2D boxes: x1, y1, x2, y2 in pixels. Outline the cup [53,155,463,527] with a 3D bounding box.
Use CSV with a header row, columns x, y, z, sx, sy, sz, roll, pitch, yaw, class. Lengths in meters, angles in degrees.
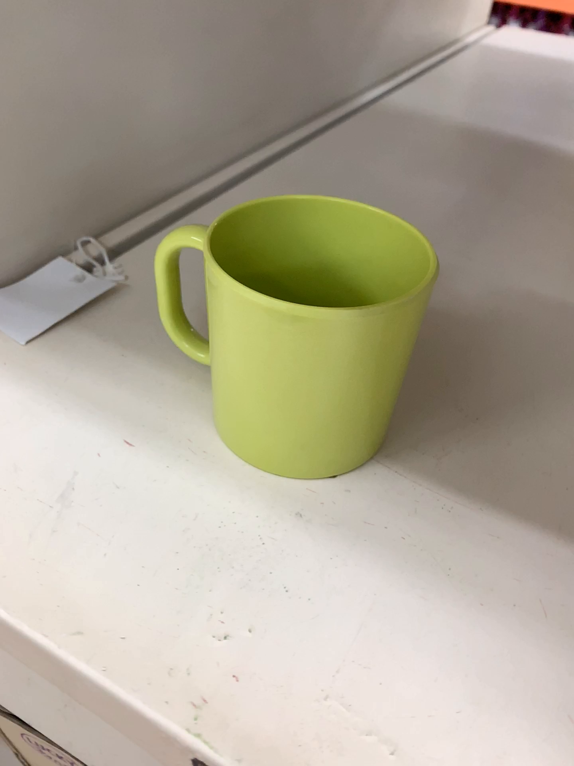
x,y,z,sx,sy,sz,roll,pitch,yaw,class
-0.008,-0.020,0.202,0.100,0.069,0.070,22,43,20,cup
